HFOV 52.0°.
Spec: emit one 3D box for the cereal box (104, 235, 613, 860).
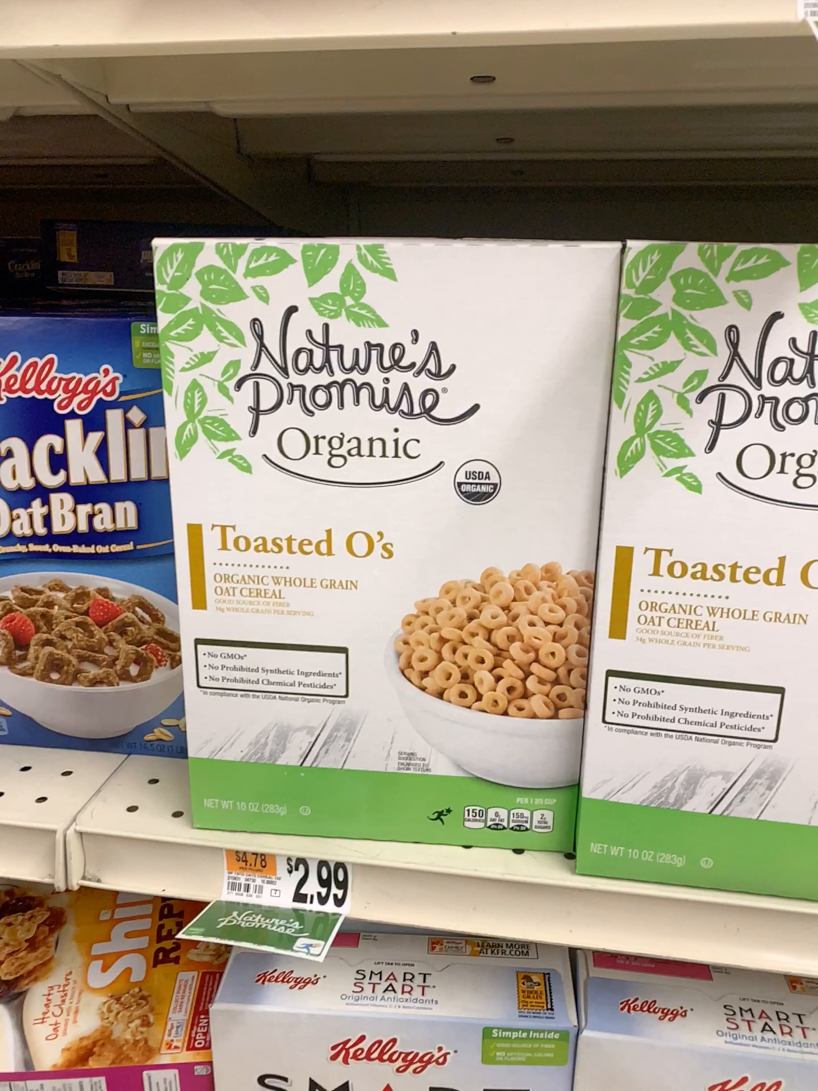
[{"bbox_3d":[-0.018,0.002,0.385,0.190,0.269,0.070,2,18,5],"label":"cereal box"}]
